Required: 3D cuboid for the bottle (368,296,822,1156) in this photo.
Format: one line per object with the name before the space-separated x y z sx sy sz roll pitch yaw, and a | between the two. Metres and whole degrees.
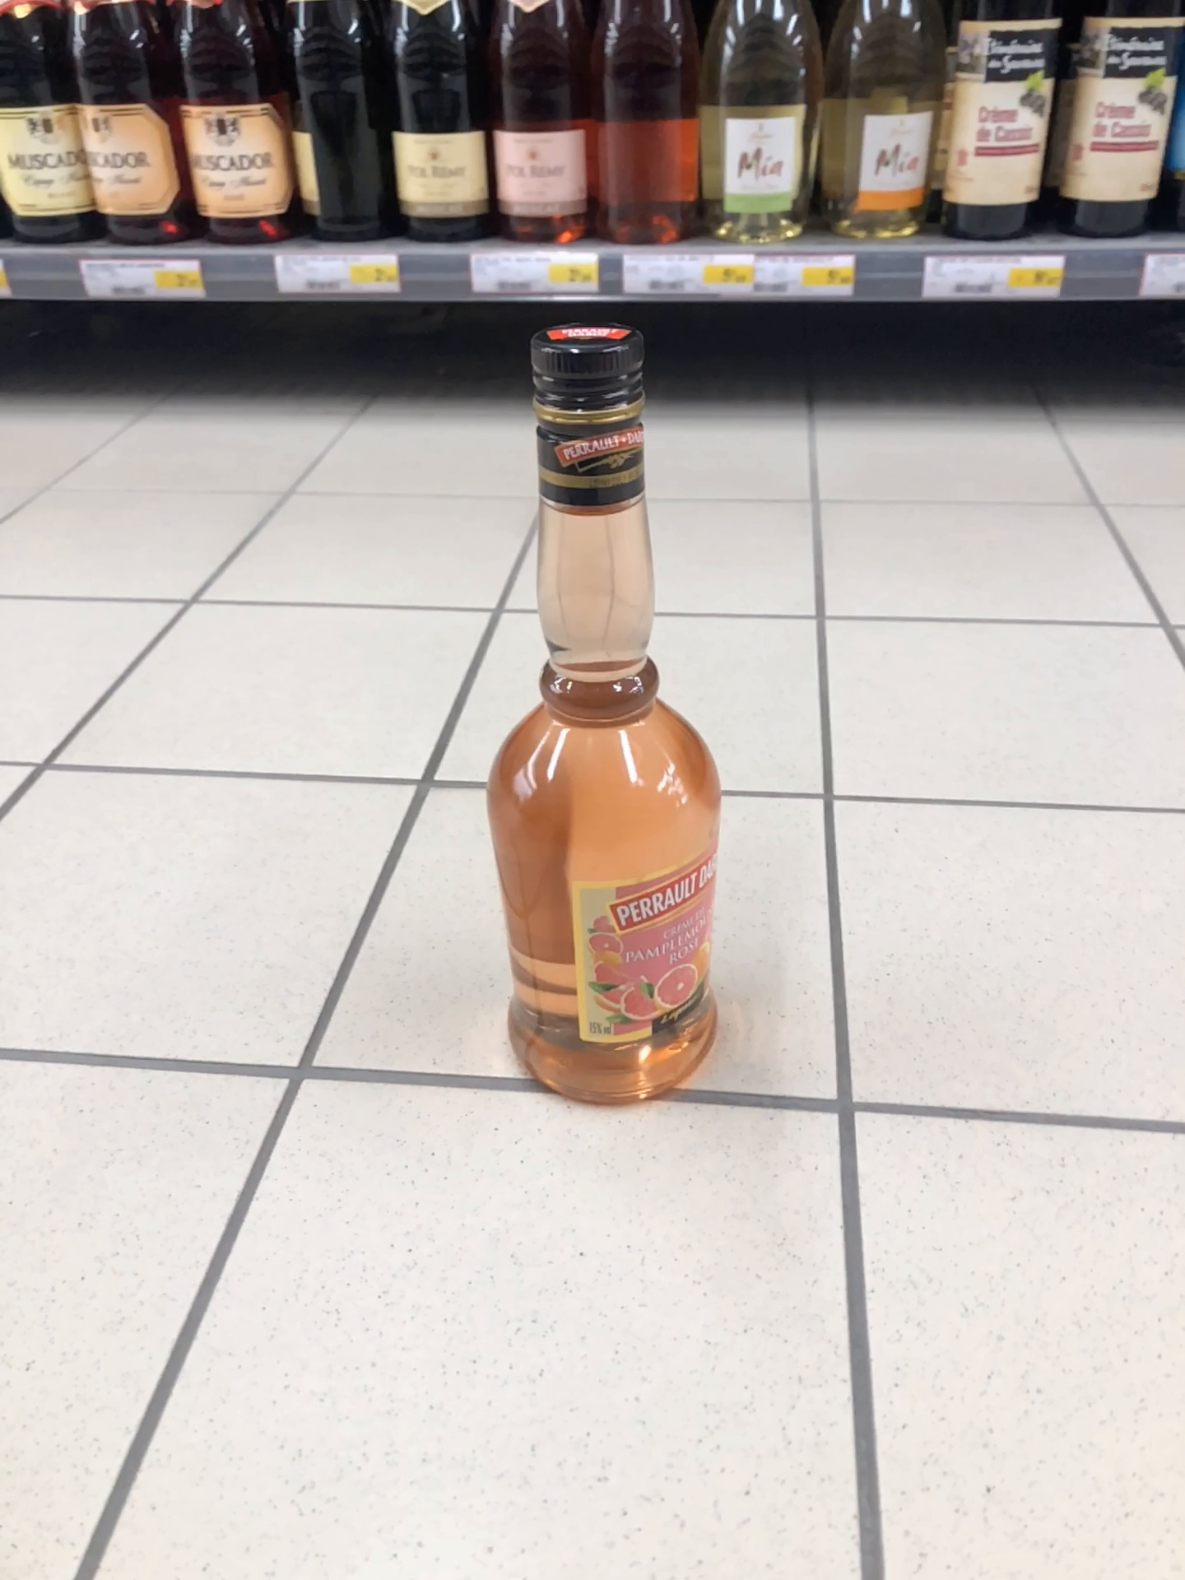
bottle | 0.004 -0.017 0.407 0.090 0.239 0.080 -28 40 -36
